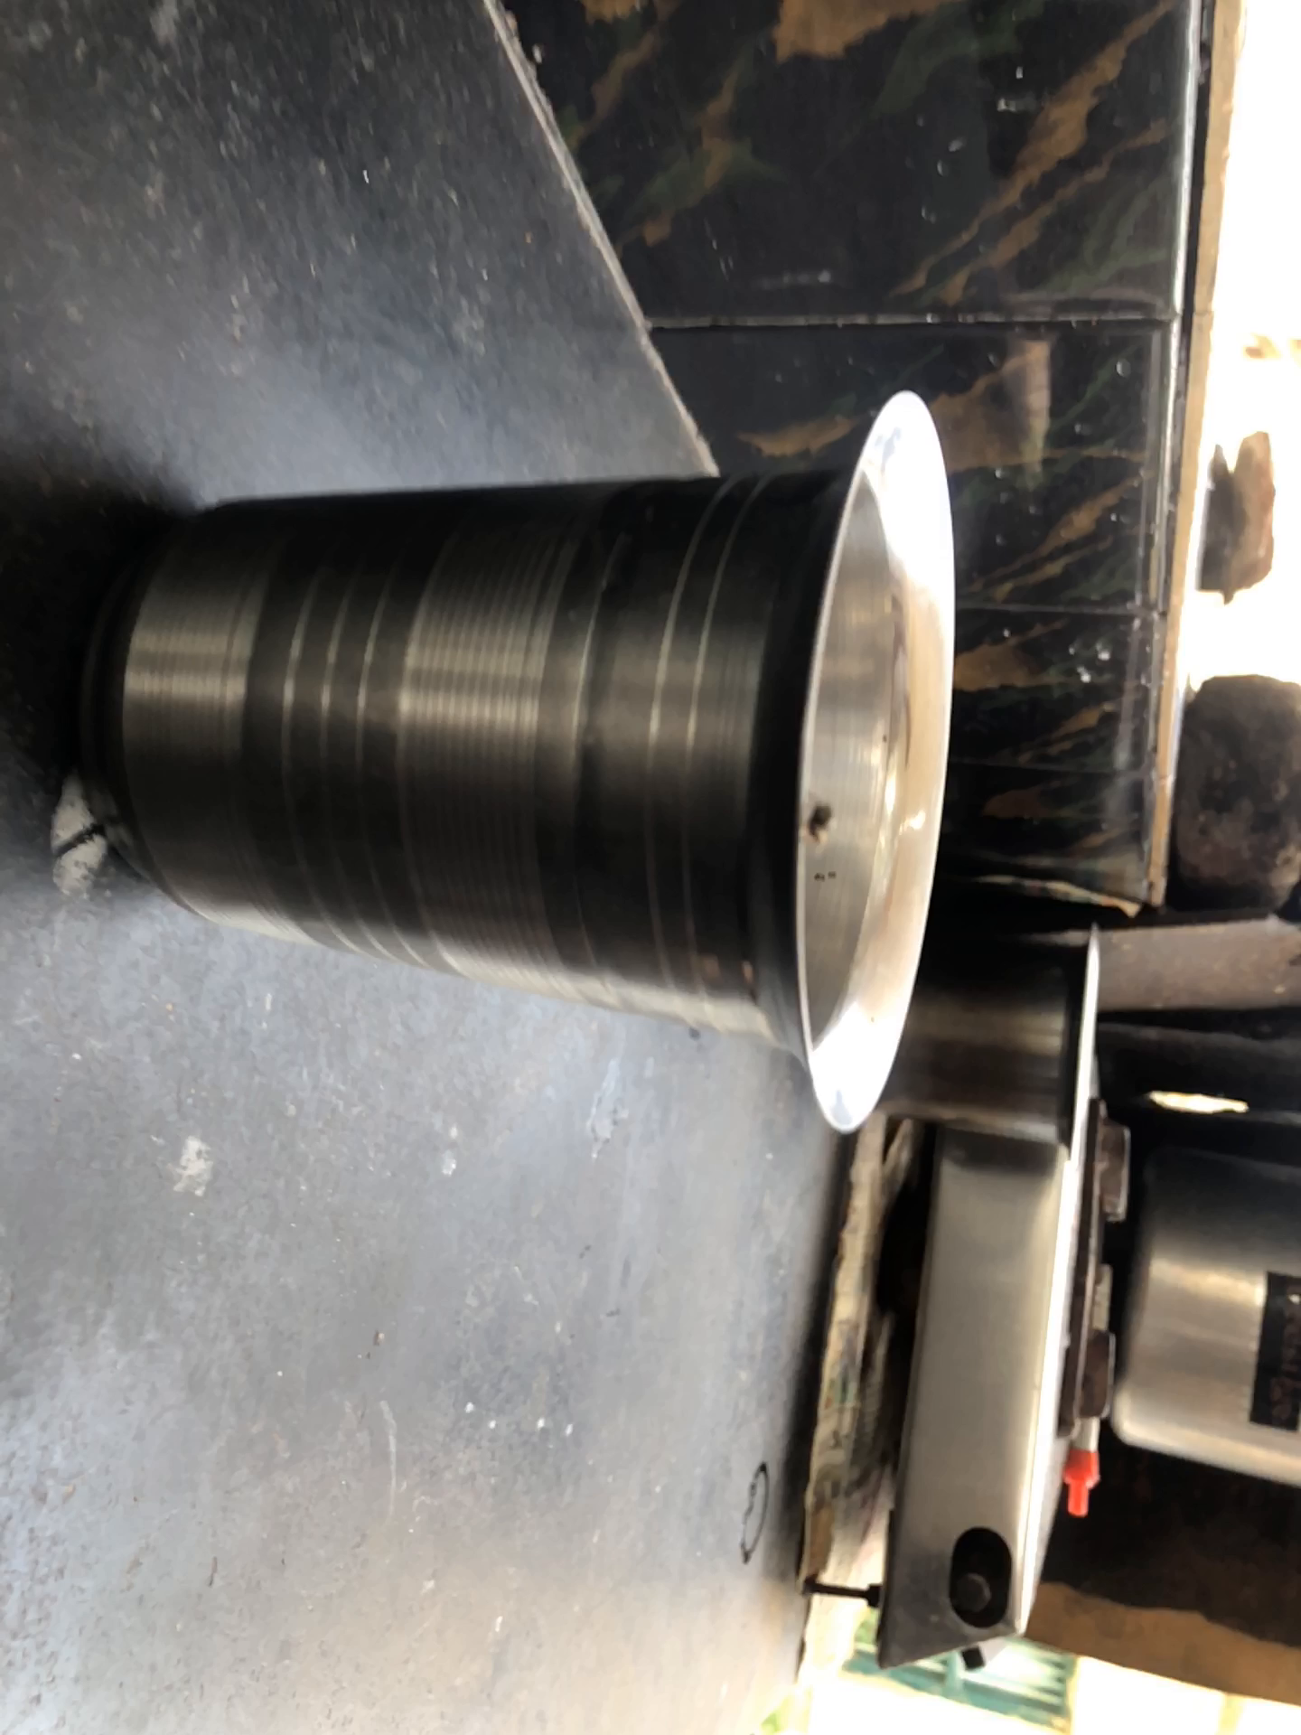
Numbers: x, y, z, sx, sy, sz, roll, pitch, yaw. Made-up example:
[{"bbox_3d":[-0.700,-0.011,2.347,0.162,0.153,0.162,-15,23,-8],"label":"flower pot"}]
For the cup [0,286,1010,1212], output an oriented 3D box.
[{"bbox_3d":[-0.015,-0.018,0.201,0.091,0.109,0.090,6,90,-71],"label":"cup"}]
